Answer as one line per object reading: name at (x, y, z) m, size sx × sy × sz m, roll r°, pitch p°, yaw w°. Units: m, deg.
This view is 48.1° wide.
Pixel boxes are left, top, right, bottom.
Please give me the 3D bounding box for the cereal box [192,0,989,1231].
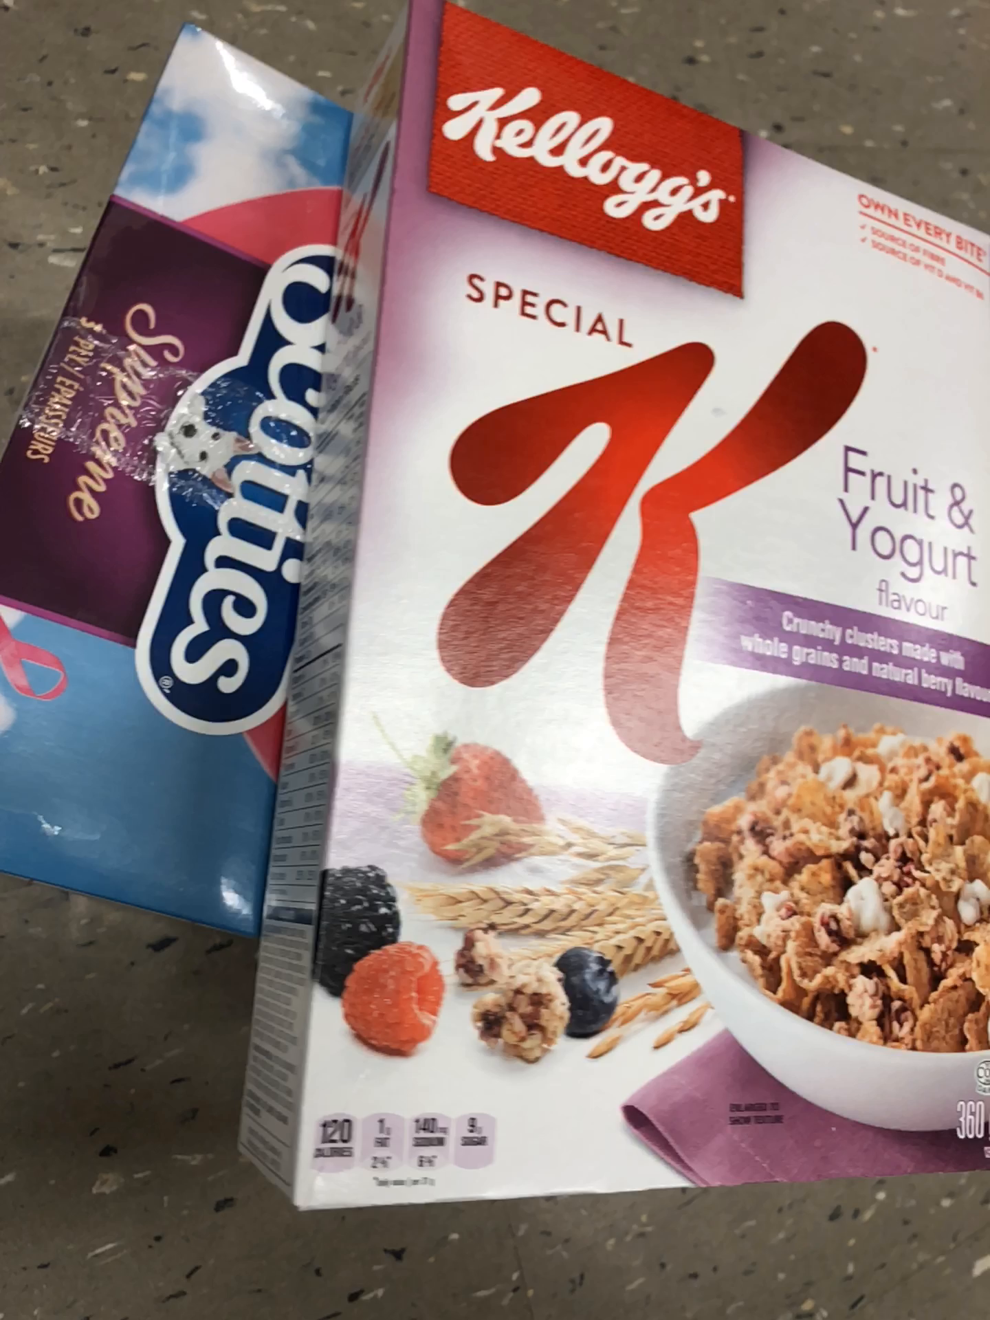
cereal box at (0.048, -0.015, 0.292) m, size 0.211 × 0.050 × 0.280 m, roll 10°, pitch 74°, yaw -24°
